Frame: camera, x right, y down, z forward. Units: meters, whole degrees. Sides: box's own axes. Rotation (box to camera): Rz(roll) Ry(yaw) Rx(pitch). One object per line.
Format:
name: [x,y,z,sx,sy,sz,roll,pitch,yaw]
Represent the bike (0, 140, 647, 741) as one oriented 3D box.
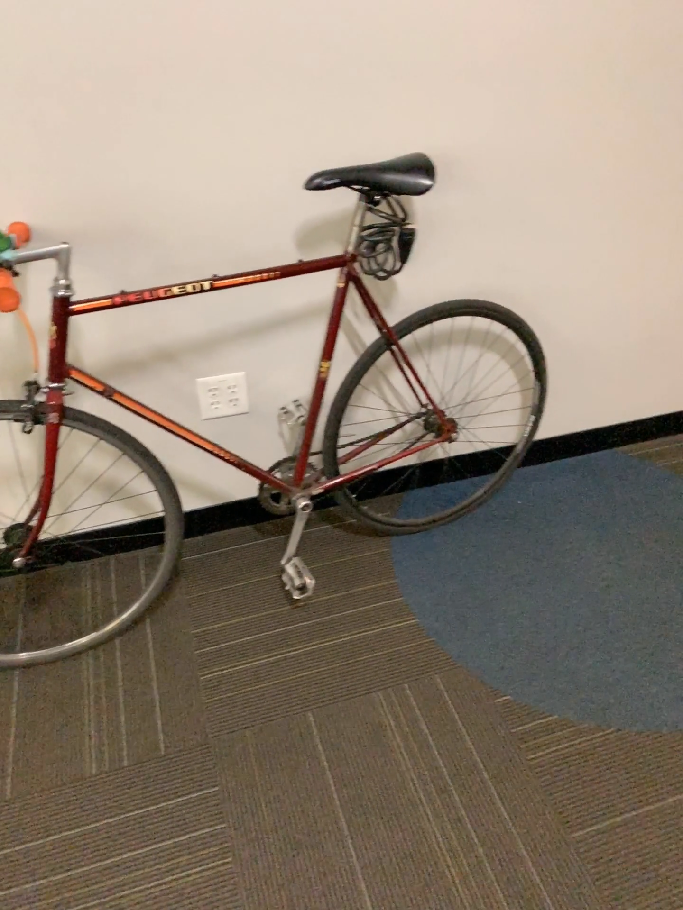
bike: [-0.223,-0.102,1.569,1.626,0.909,0.451,-15,39,-19]
